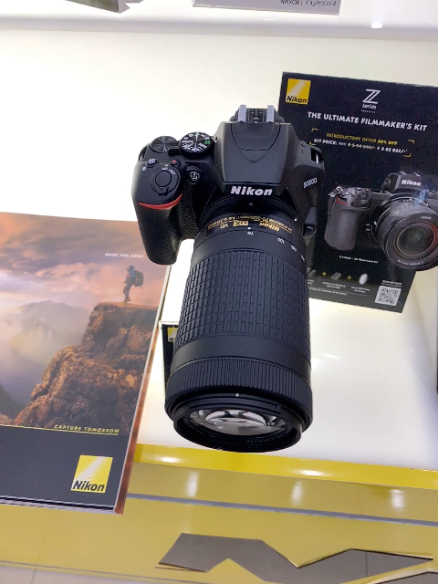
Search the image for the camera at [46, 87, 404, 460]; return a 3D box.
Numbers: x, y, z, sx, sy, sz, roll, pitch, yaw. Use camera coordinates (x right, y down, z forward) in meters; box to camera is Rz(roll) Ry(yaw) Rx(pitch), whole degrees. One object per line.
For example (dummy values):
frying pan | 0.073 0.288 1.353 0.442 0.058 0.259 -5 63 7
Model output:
camera | 0.005 -0.018 0.247 0.120 0.100 0.180 0 51 2
